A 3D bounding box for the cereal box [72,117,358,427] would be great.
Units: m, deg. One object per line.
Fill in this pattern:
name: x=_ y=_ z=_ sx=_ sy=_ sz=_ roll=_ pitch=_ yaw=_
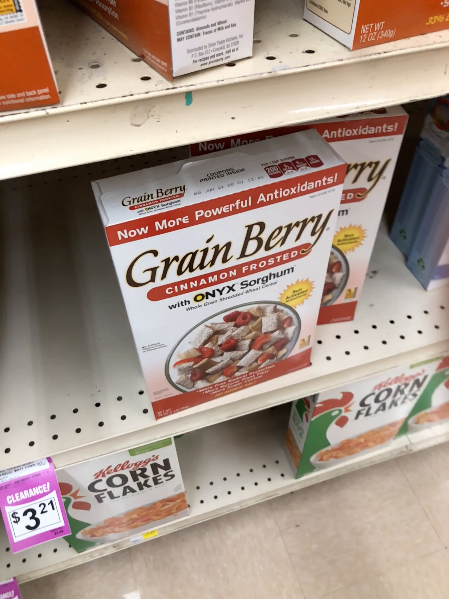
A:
cereal box: x=-0.005 y=-0.007 z=0.475 sx=0.200 sy=0.280 sz=0.070 roll=-17 pitch=51 yaw=-13
